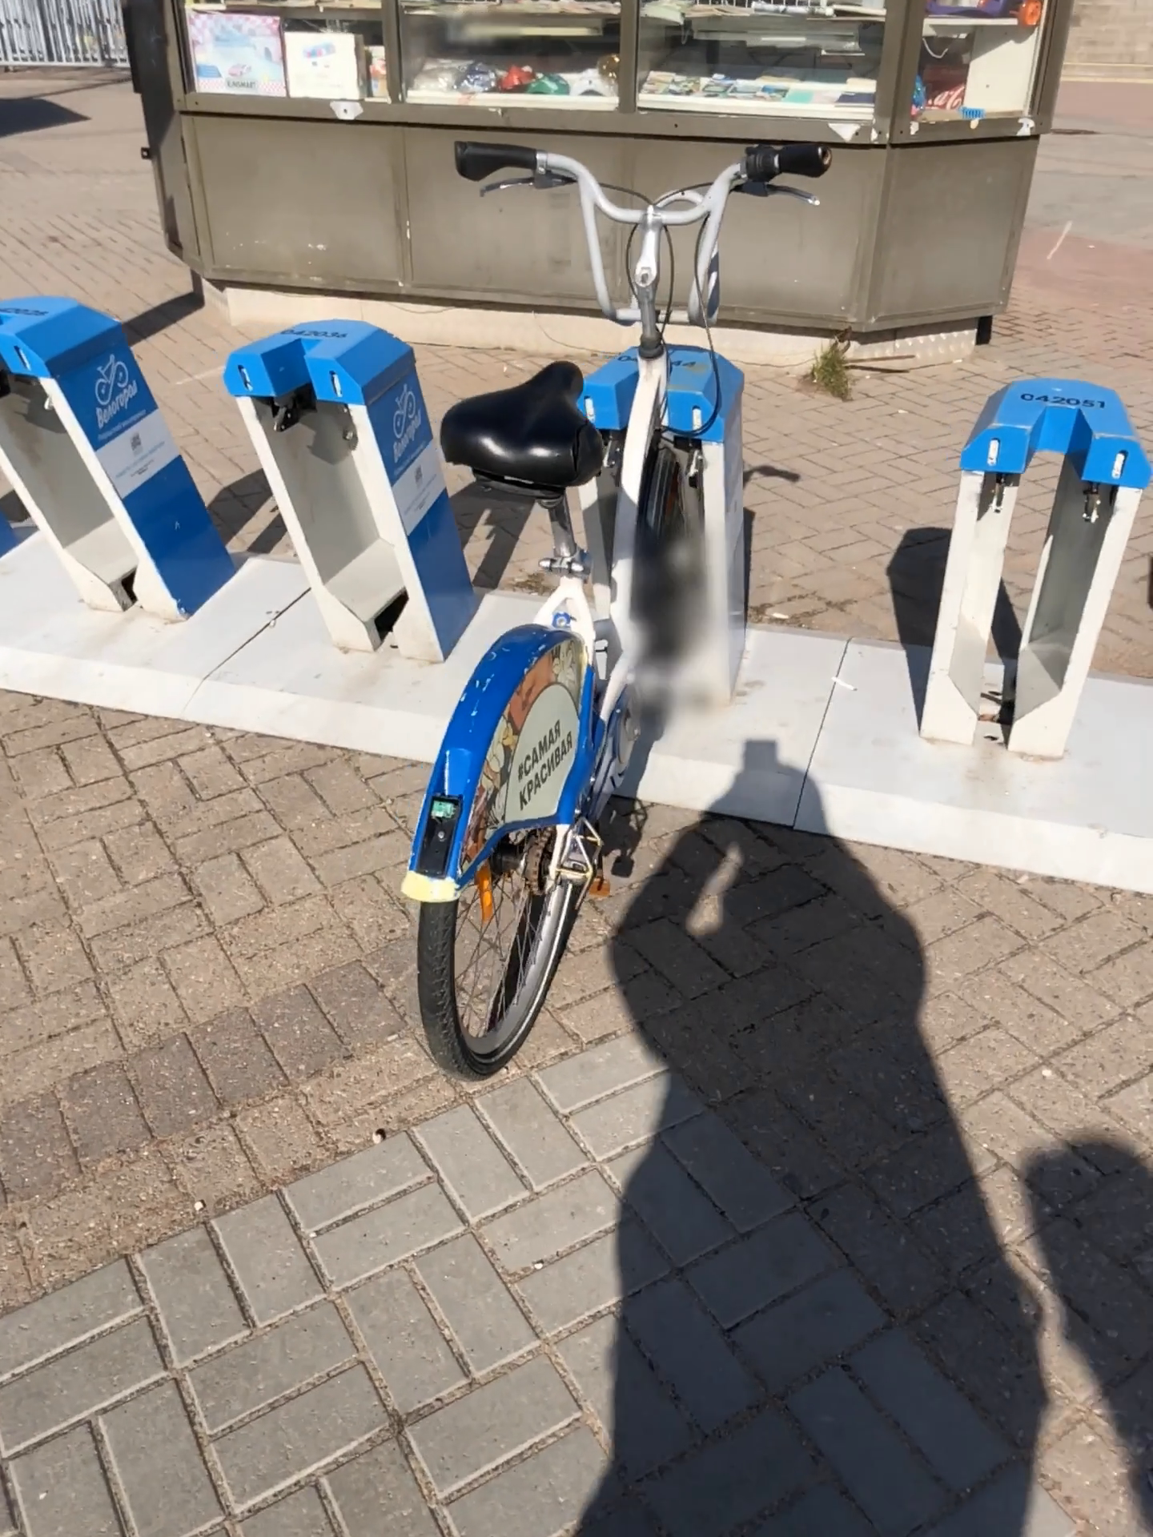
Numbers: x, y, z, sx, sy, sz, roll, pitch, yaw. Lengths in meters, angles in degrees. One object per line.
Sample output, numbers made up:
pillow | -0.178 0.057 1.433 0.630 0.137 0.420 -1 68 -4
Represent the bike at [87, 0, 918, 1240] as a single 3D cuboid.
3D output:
bike | 0.076 -0.423 2.023 0.596 1.203 1.636 9 37 15
